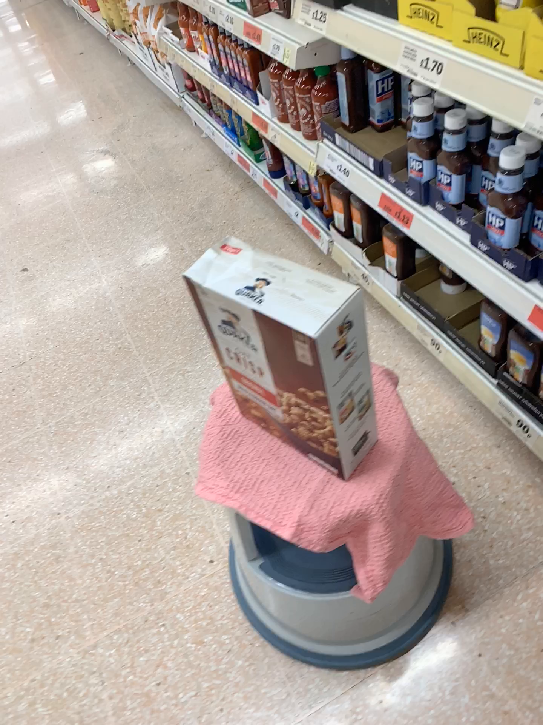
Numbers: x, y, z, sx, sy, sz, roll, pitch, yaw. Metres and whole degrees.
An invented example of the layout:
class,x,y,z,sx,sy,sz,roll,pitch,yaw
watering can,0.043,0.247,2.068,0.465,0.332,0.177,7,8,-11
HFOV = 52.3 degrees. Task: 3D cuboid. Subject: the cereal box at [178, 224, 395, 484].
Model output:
class,x,y,z,sx,sy,sz,roll,pitch,yaw
cereal box,0.030,-0.003,0.649,0.191,0.268,0.090,28,63,34
